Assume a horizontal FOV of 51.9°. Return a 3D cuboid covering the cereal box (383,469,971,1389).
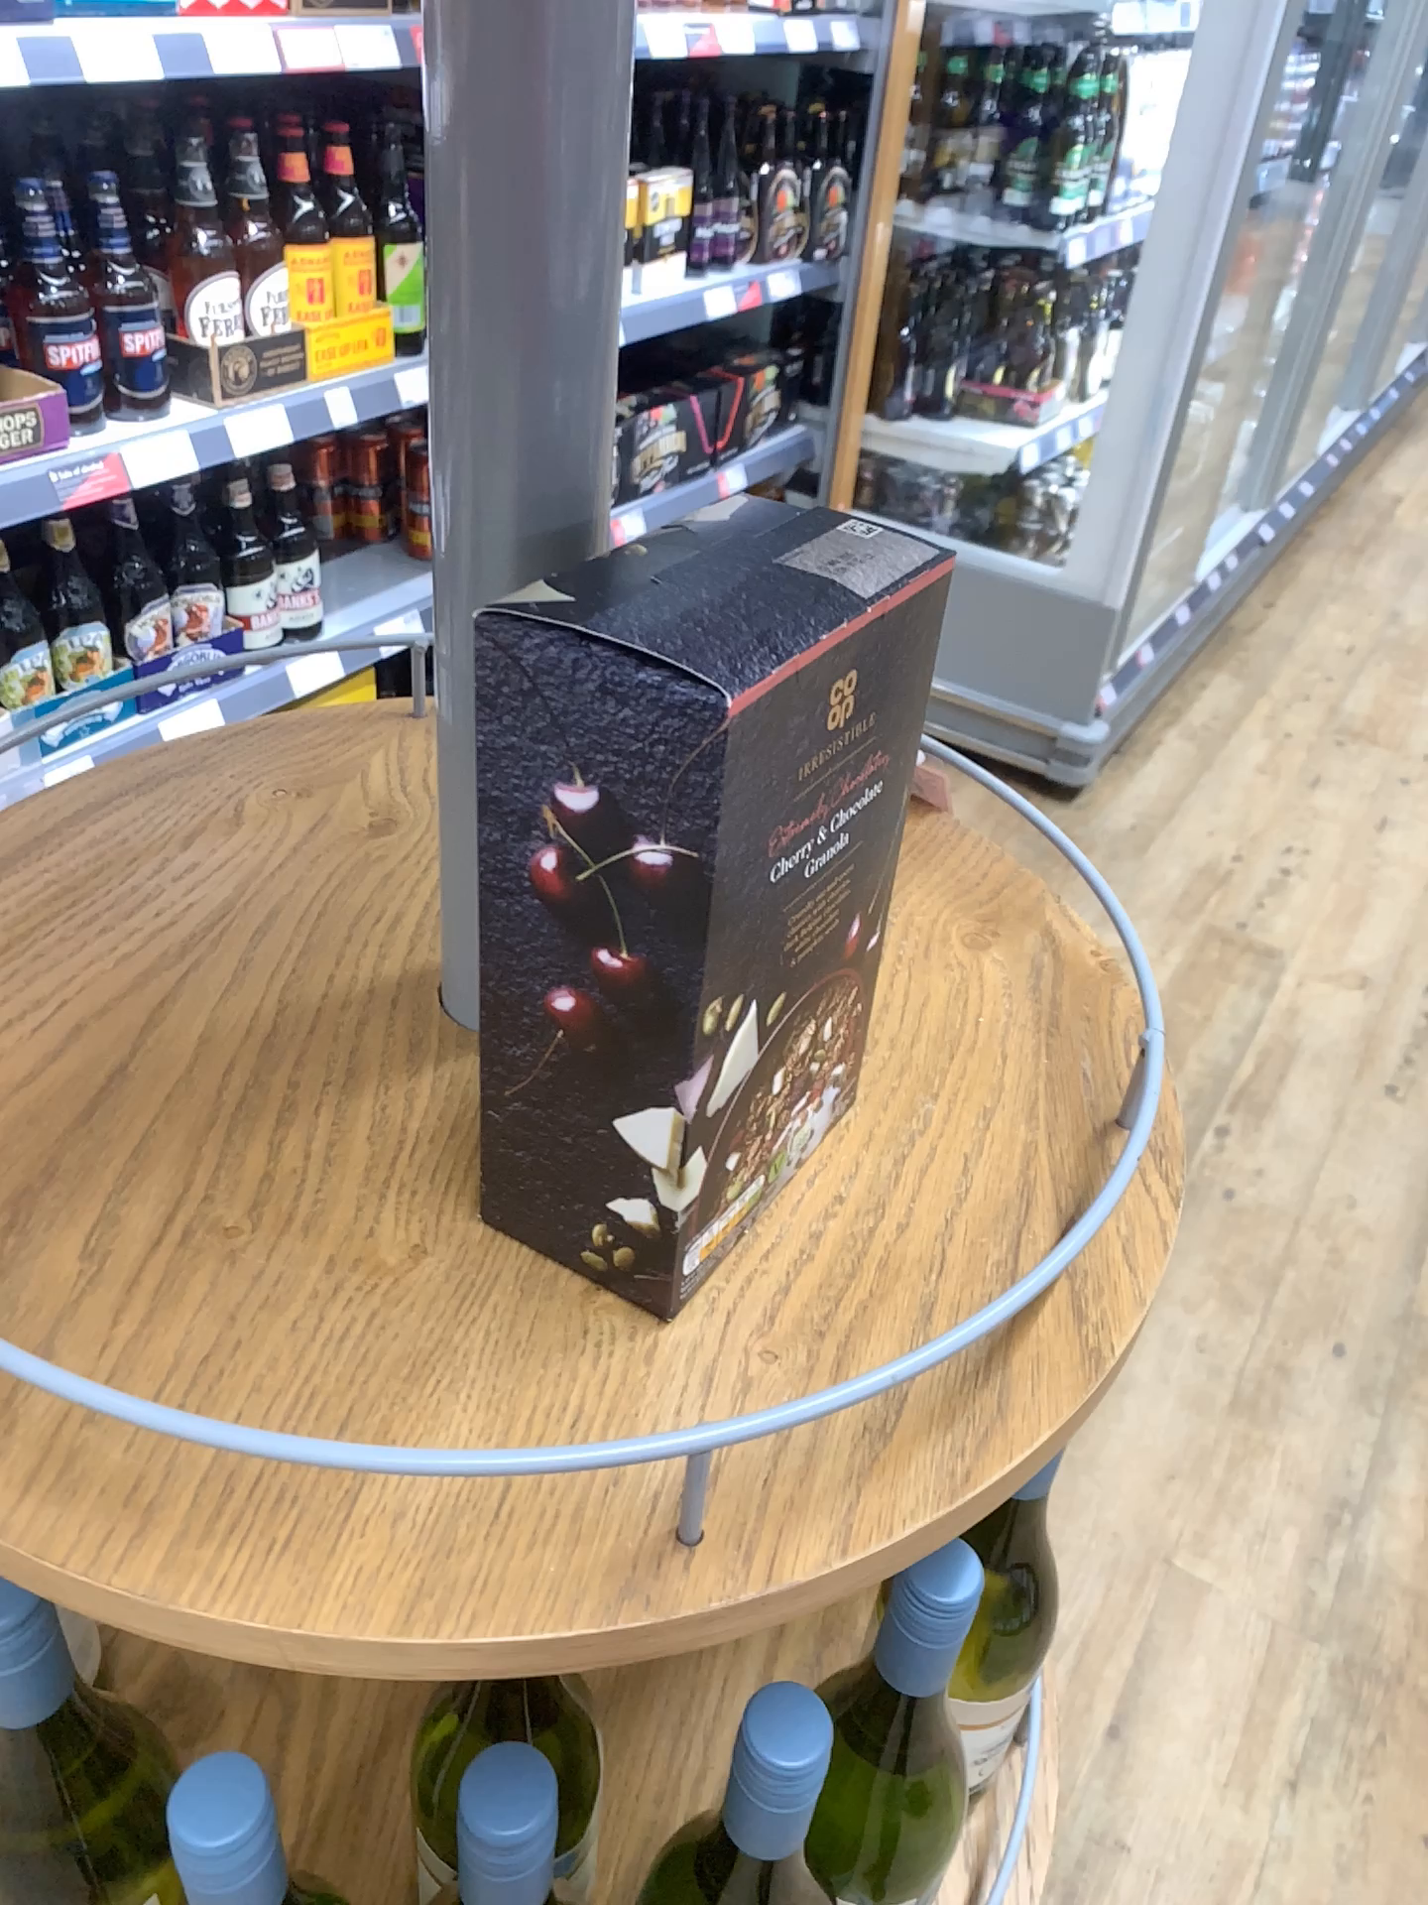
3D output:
[{"bbox_3d":[-0.013,-0.009,0.439,0.090,0.218,0.141,23,39,22],"label":"cereal box"}]
